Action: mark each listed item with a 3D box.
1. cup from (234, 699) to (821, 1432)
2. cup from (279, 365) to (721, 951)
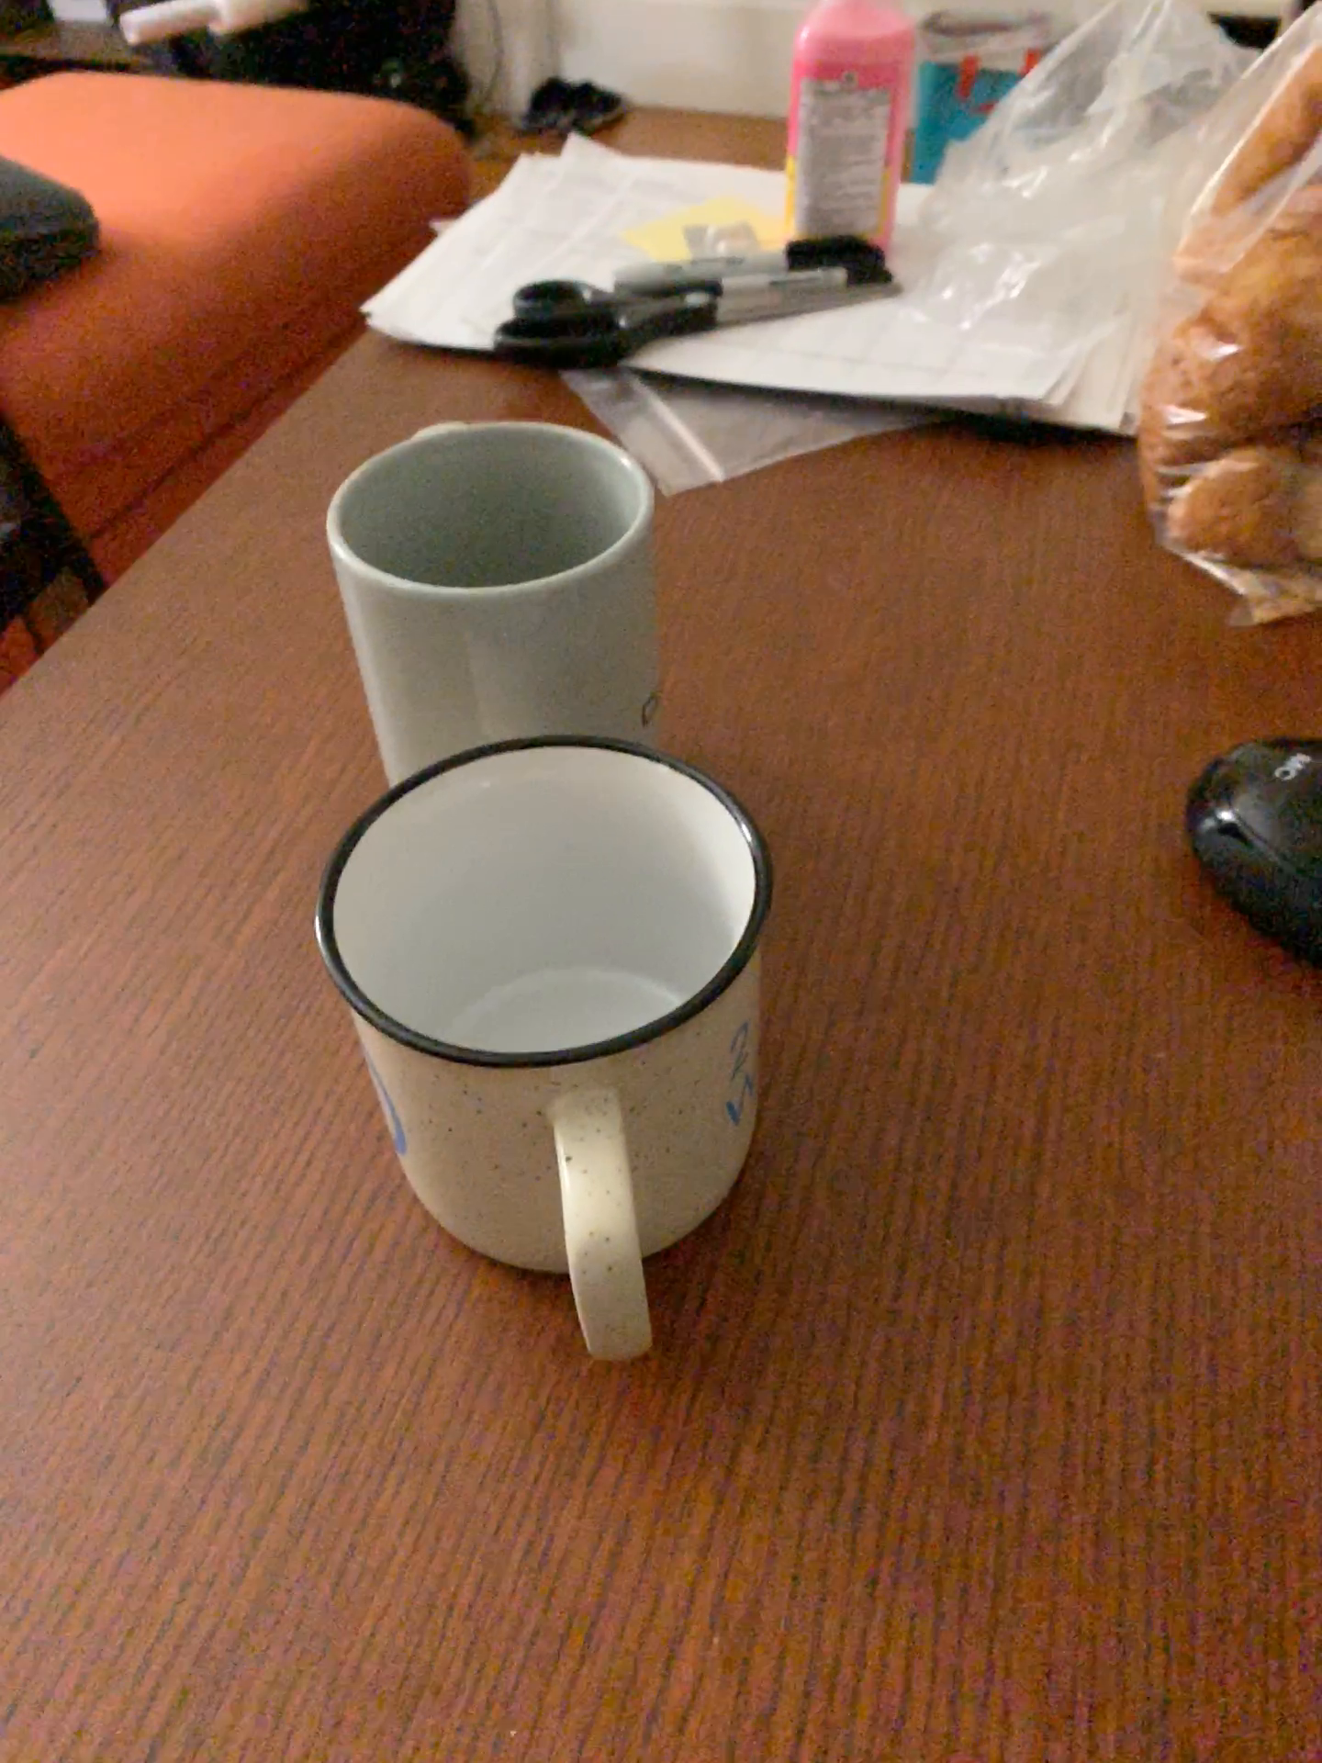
[{"bbox_3d":[-0.021,0.040,0.314,0.100,0.099,0.131,-2,45,1],"label":"cup"},{"bbox_3d":[-0.036,-0.067,0.395,0.100,0.099,0.141,-2,45,1],"label":"cup"}]
